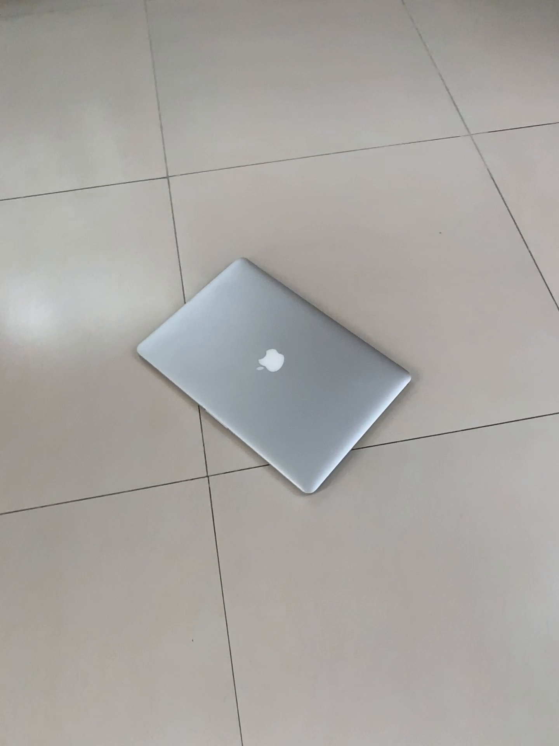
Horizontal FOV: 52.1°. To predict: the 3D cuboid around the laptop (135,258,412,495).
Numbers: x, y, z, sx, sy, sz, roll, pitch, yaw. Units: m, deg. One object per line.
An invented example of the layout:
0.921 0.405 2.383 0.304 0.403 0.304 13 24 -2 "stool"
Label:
-0.014 -0.016 0.876 0.356 0.001 0.239 37 68 19 "laptop"
